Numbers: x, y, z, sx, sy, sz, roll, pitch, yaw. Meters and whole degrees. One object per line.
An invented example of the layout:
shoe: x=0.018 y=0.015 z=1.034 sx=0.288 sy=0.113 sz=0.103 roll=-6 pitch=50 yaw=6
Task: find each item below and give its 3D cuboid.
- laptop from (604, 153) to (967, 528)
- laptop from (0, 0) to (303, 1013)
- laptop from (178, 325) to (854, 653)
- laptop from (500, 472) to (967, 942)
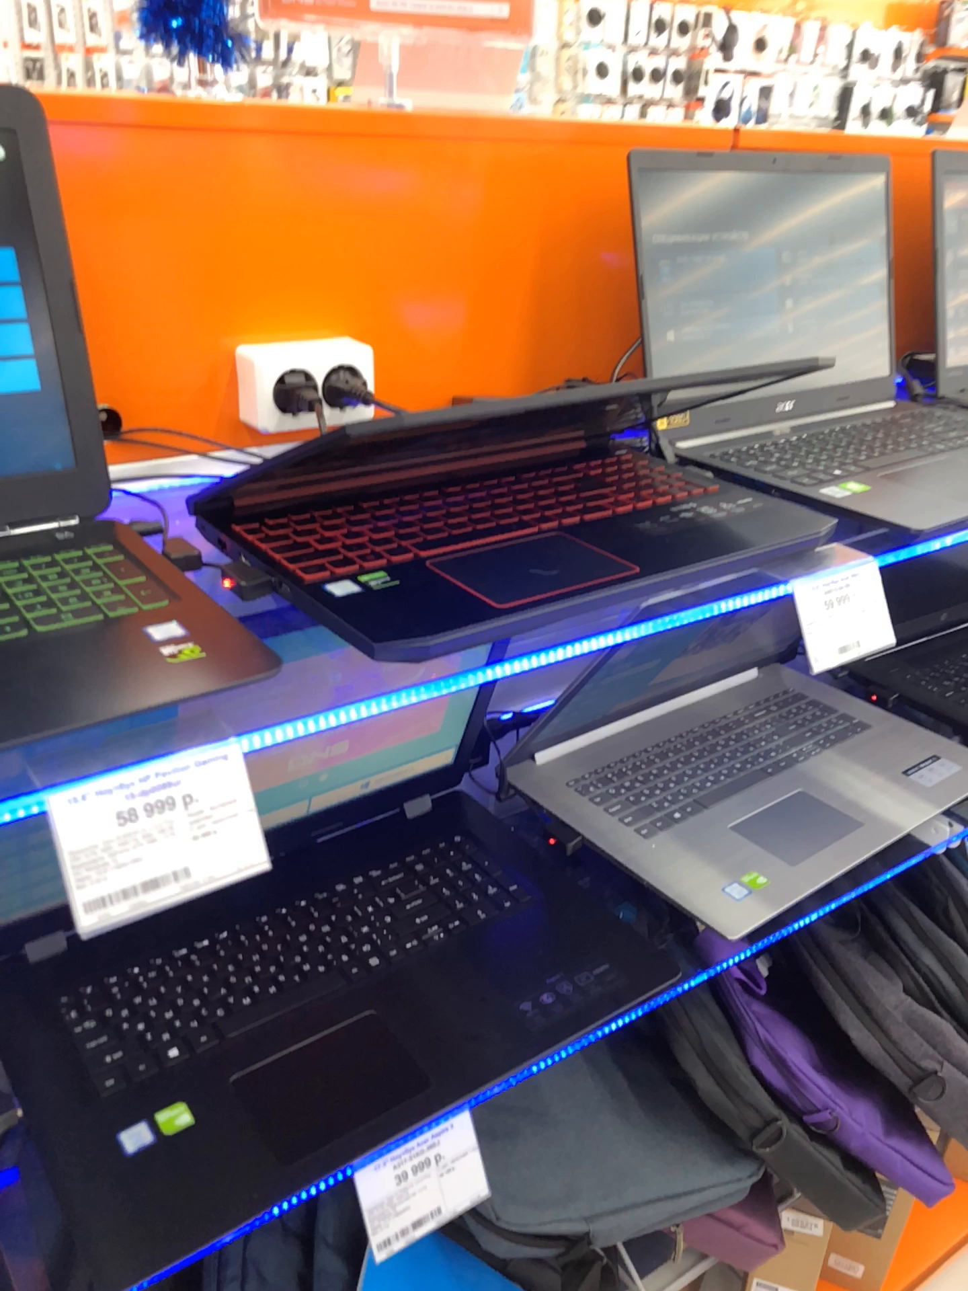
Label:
laptop: x=0.348 y=-0.282 z=0.890 sx=0.343 sy=0.226 sz=0.313 roll=-17 pitch=31 yaw=-34
laptop: x=-0.355 y=-0.108 z=0.459 sx=0.415 sy=0.250 sz=0.310 roll=-16 pitch=30 yaw=-33
laptop: x=0.021 y=-0.129 z=0.697 sx=0.358 sy=0.103 sz=0.248 roll=-16 pitch=30 yaw=-33
laptop: x=0.263 y=0.017 z=0.974 sx=0.405 sy=0.220 sz=0.297 roll=-17 pitch=31 yaw=-33
